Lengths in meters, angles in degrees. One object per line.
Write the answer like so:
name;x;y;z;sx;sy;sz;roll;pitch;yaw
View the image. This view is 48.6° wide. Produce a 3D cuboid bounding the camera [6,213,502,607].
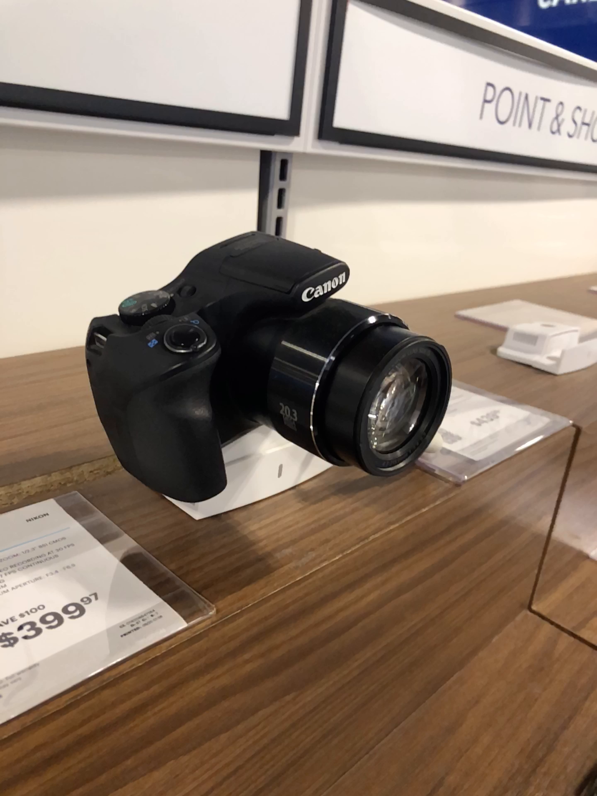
camera;-0.015;-0.014;0.272;0.140;0.069;0.131;22;41;37
